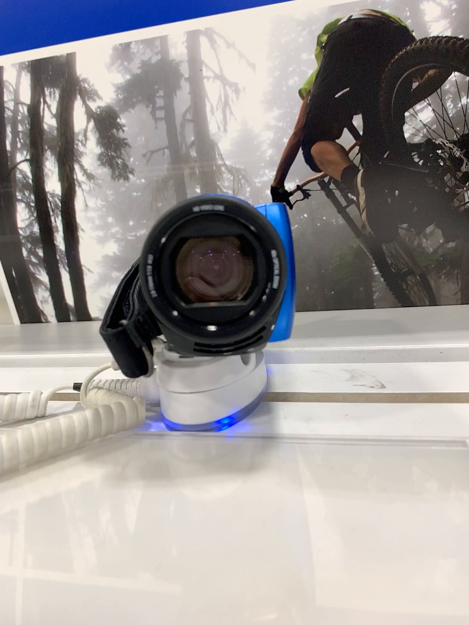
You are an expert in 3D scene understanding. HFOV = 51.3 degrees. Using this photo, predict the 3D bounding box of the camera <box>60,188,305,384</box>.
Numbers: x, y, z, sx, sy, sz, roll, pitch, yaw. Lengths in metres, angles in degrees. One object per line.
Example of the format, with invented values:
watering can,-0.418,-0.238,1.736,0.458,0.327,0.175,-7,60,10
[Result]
camera,-0.014,-0.021,0.224,0.072,0.058,0.143,-4,11,2
